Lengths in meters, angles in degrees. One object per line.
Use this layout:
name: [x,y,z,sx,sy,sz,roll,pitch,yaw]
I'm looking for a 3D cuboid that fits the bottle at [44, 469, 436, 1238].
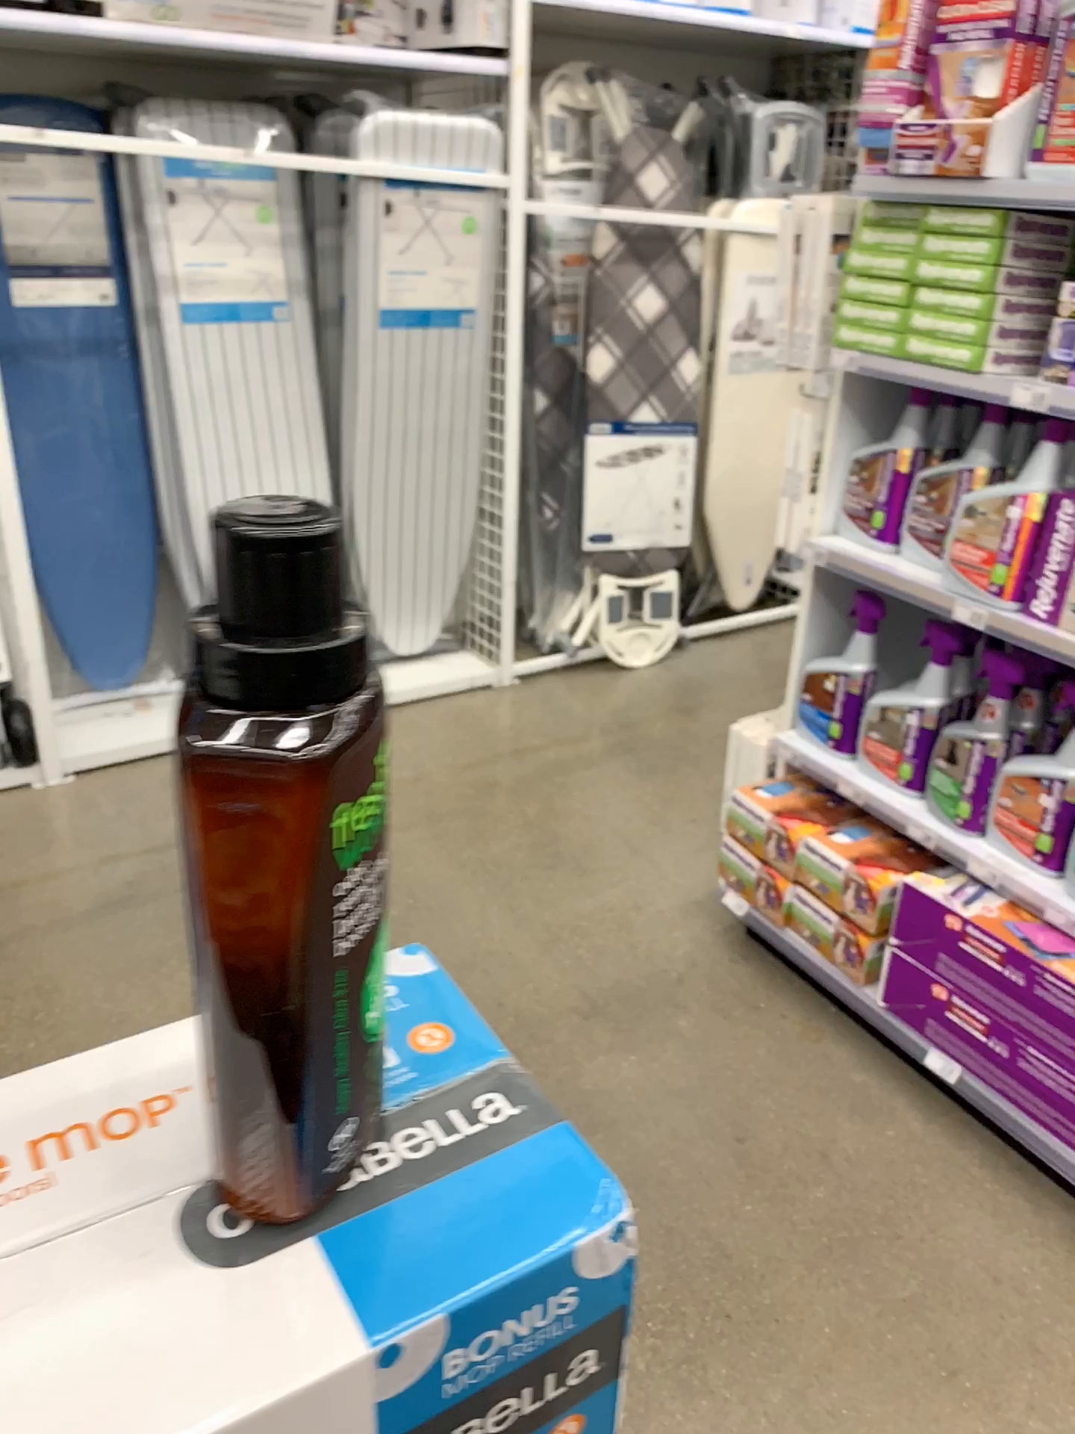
bottle: [-0.077,0.041,0.344,0.070,0.209,0.100,5,25,6]
